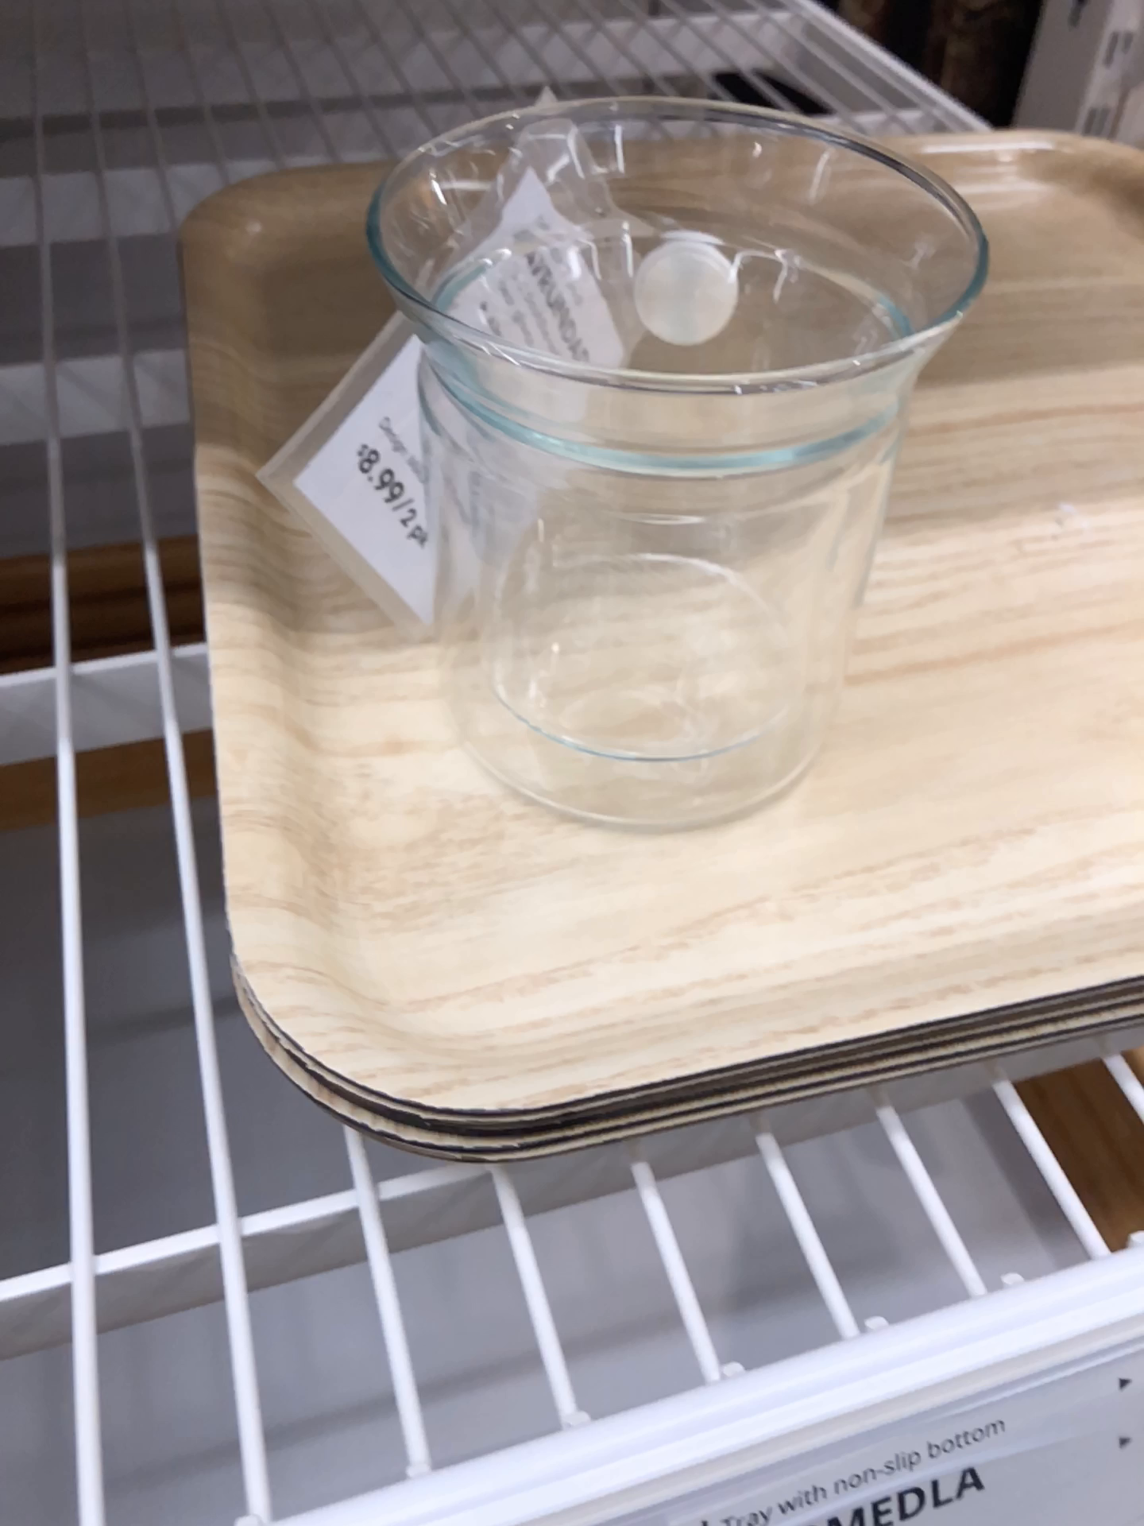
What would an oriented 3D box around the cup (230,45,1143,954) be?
[{"bbox_3d":[0.021,-0.049,0.203,0.090,0.080,0.100,28,50,24],"label":"cup"}]
